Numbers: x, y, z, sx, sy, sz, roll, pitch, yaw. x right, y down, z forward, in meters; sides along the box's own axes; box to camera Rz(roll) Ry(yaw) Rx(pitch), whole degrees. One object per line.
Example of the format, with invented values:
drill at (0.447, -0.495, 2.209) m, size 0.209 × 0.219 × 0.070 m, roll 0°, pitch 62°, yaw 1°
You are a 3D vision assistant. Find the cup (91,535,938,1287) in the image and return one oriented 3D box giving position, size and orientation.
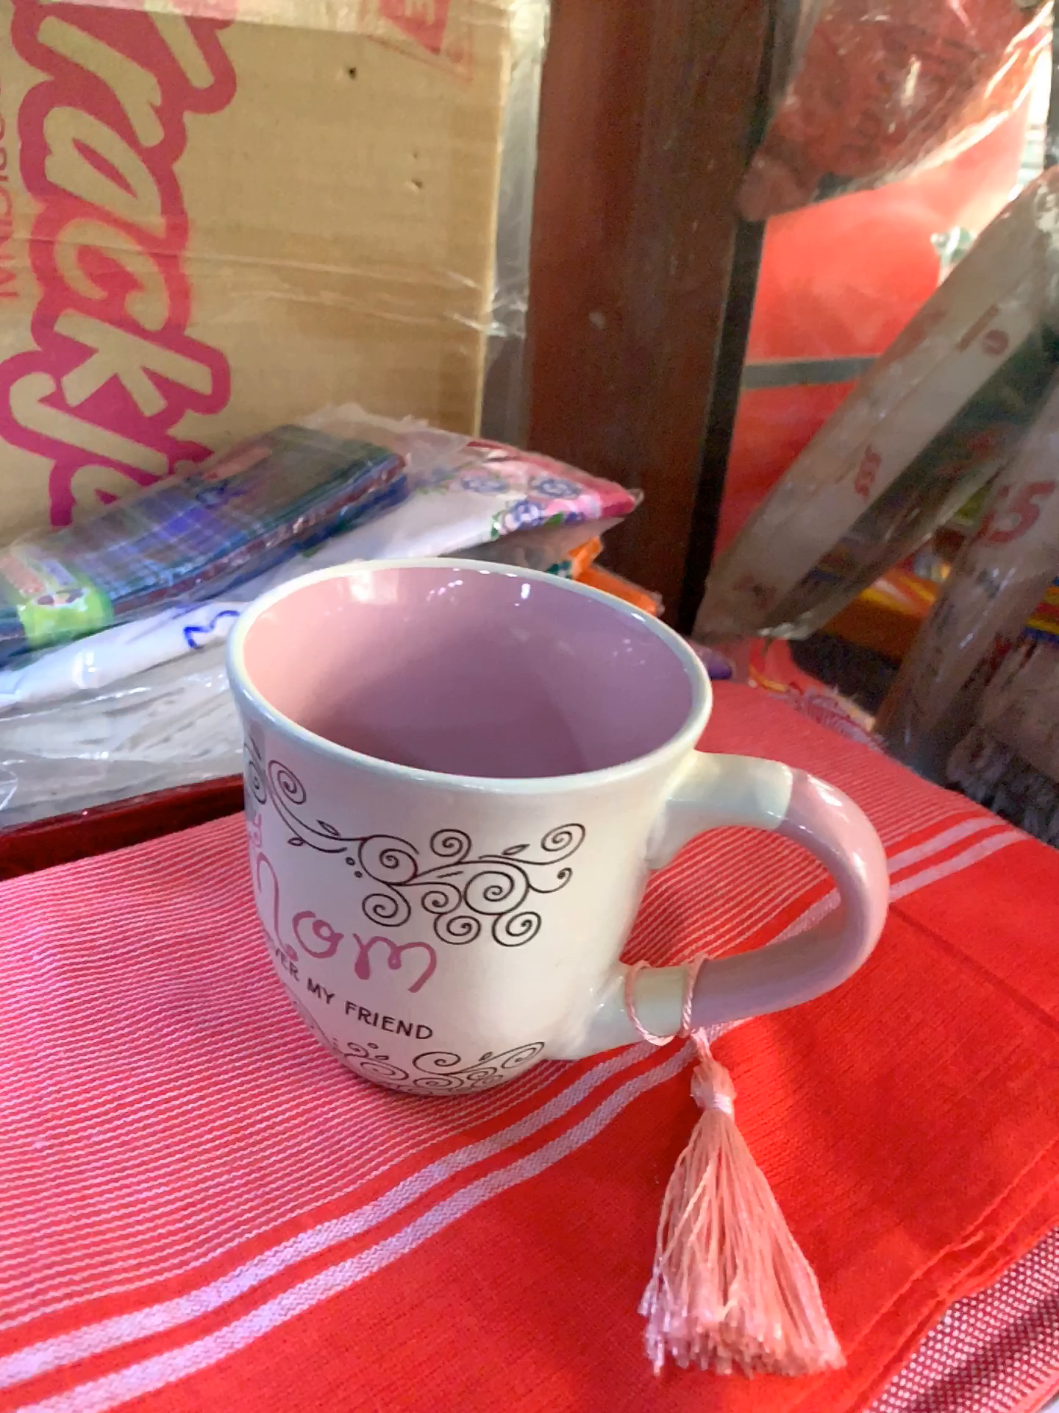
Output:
cup at (0.003, 0.028, 0.221) m, size 0.130 × 0.080 × 0.094 m, roll 11°, pitch 28°, yaw 13°
